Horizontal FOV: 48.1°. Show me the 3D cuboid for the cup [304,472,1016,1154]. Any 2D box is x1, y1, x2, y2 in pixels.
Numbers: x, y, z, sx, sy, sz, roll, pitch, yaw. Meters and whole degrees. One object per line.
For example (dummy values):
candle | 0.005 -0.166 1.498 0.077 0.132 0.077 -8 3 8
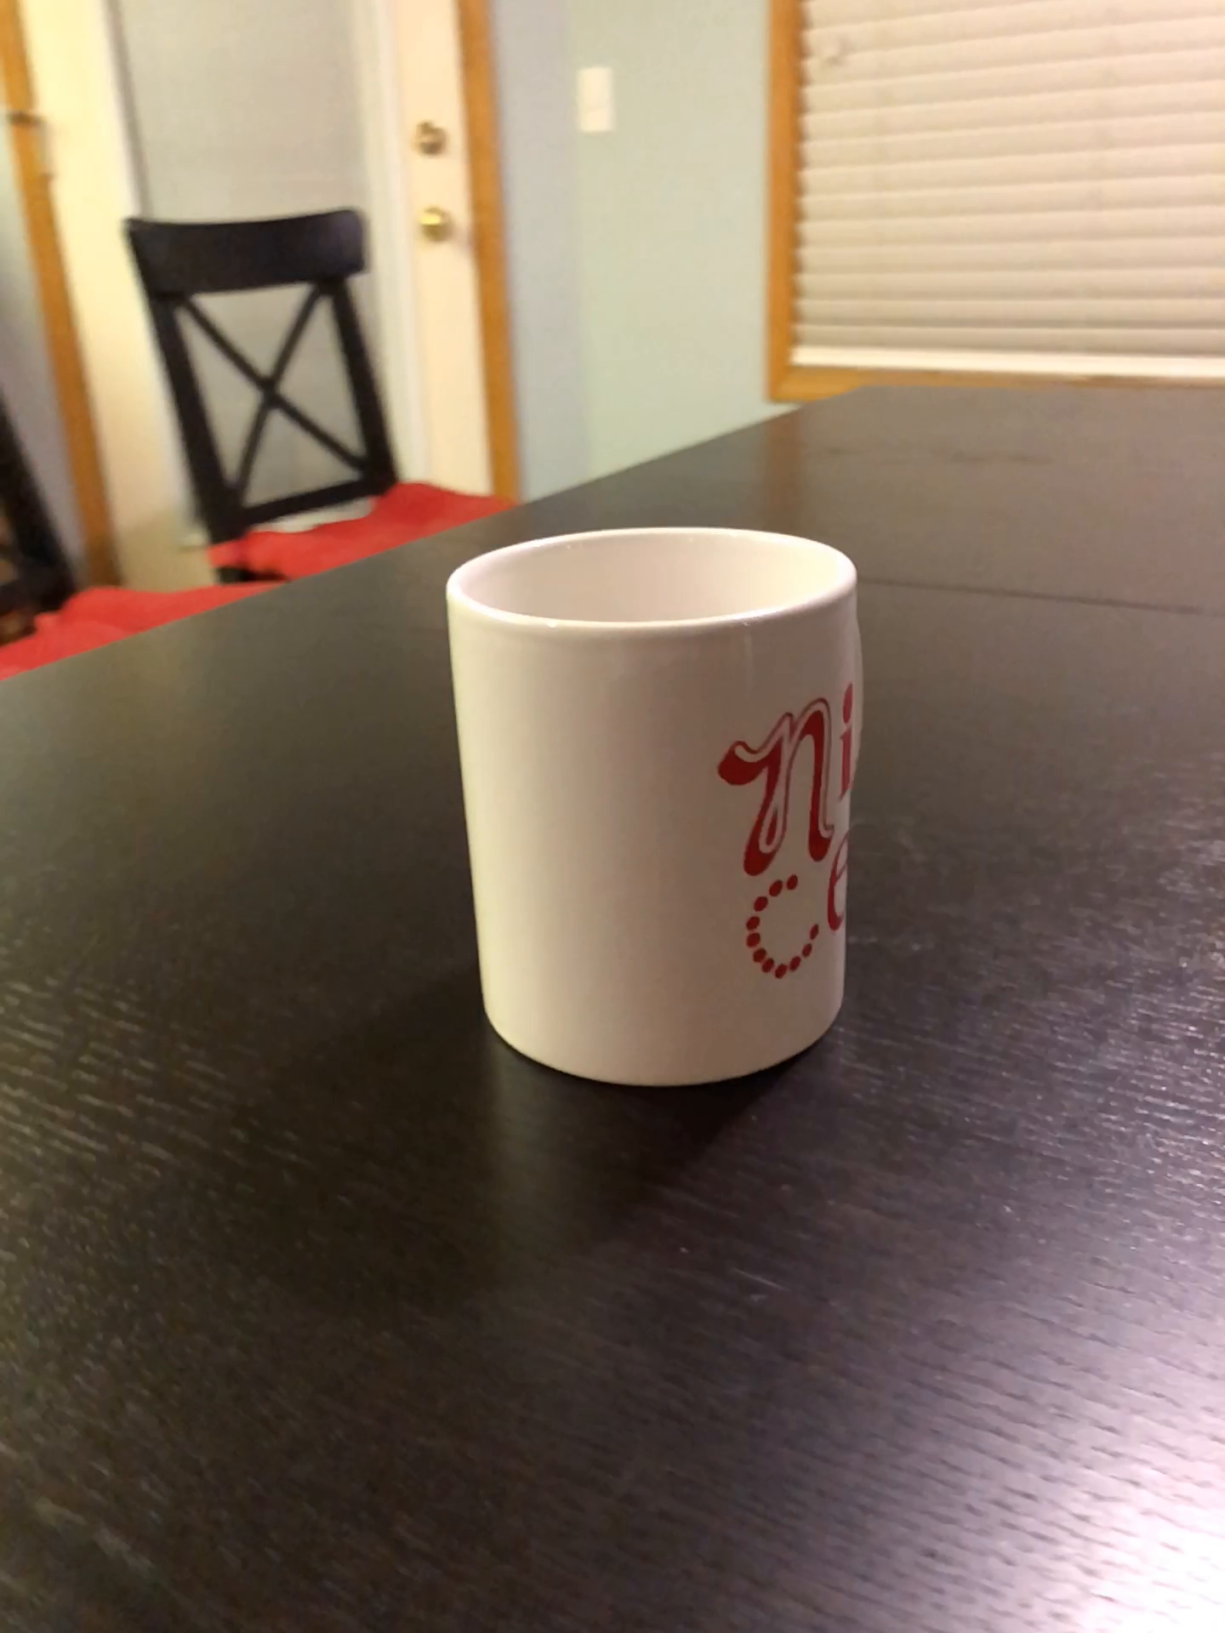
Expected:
cup | 0.016 -0.014 0.308 0.100 0.100 0.120 14 28 33
